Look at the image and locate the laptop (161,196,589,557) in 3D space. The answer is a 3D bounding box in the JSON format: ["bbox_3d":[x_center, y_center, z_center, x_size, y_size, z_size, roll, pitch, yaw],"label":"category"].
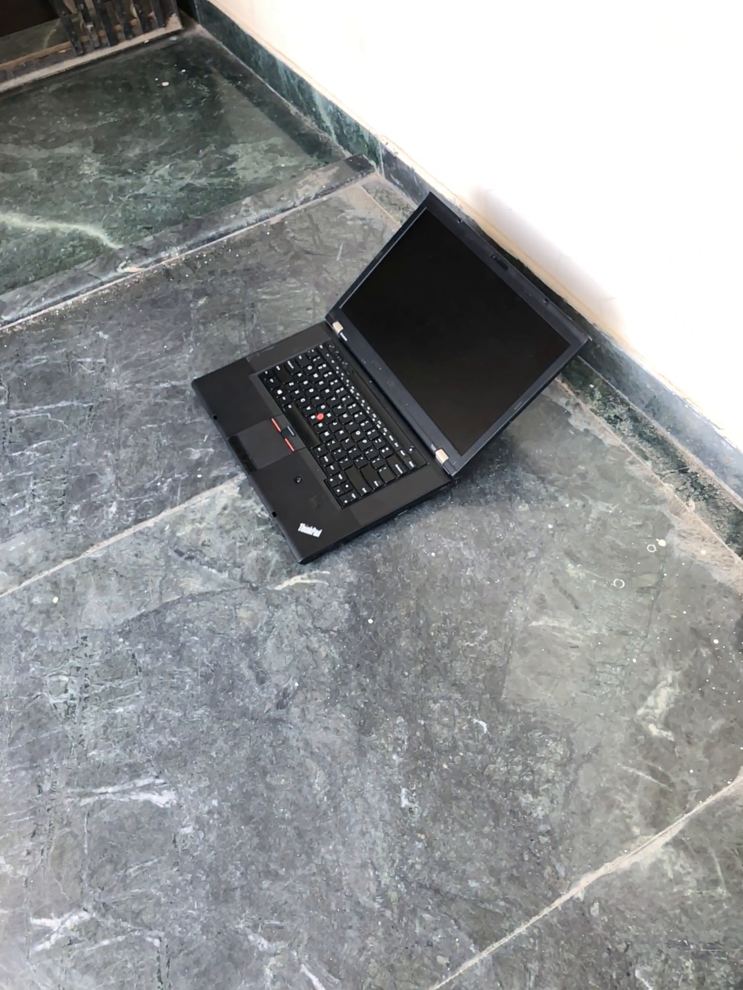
[{"bbox_3d":[-0.002,-0.157,0.962,0.375,0.115,0.312,-28,56,-13],"label":"laptop"}]
